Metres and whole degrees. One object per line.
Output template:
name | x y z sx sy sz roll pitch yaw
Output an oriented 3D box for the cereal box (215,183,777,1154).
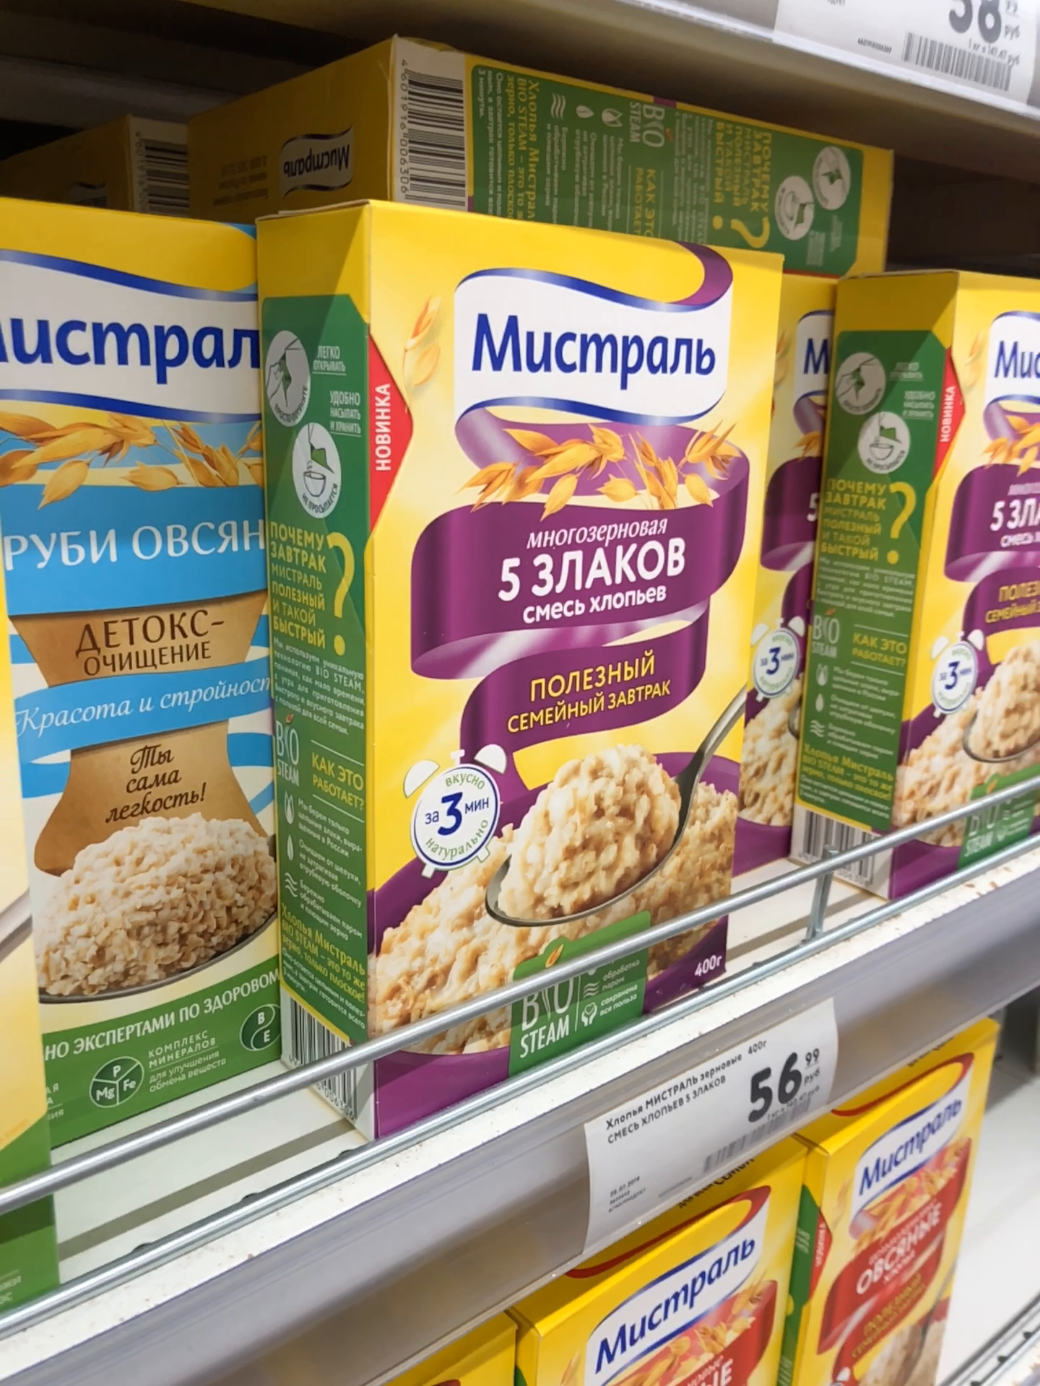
cereal box | -0.002 -0.010 0.300 0.130 0.209 0.050 -12 21 -39
